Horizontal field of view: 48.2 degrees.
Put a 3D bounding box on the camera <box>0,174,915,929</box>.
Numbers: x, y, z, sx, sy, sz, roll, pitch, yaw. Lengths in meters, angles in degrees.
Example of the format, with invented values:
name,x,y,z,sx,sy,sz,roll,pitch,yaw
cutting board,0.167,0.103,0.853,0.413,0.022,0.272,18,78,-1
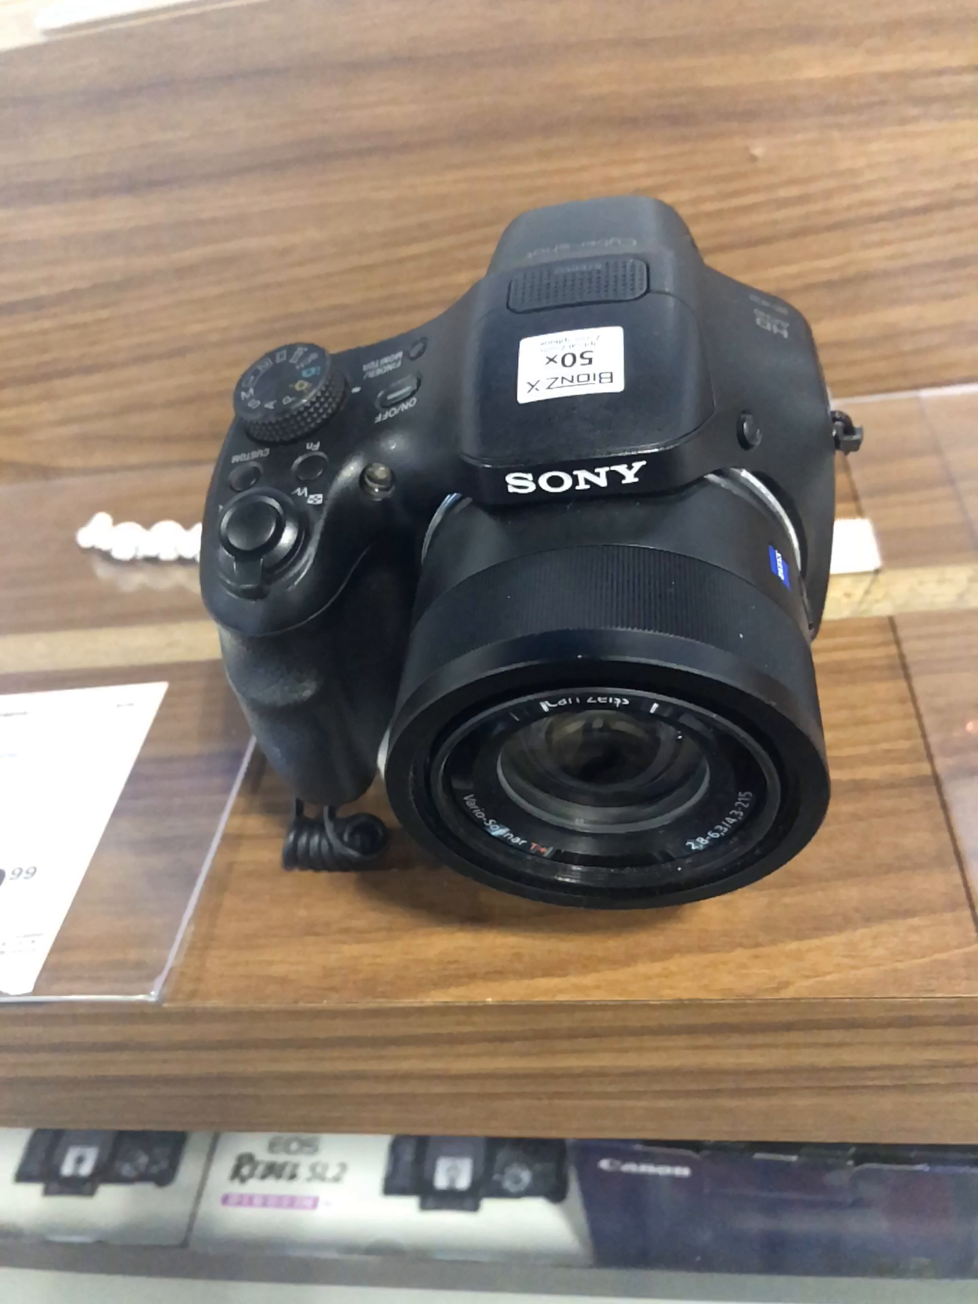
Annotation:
name,x,y,z,sx,sy,sz,roll,pitch,yaw
camera,0.001,-0.020,0.205,0.125,0.084,0.110,-3,40,12
